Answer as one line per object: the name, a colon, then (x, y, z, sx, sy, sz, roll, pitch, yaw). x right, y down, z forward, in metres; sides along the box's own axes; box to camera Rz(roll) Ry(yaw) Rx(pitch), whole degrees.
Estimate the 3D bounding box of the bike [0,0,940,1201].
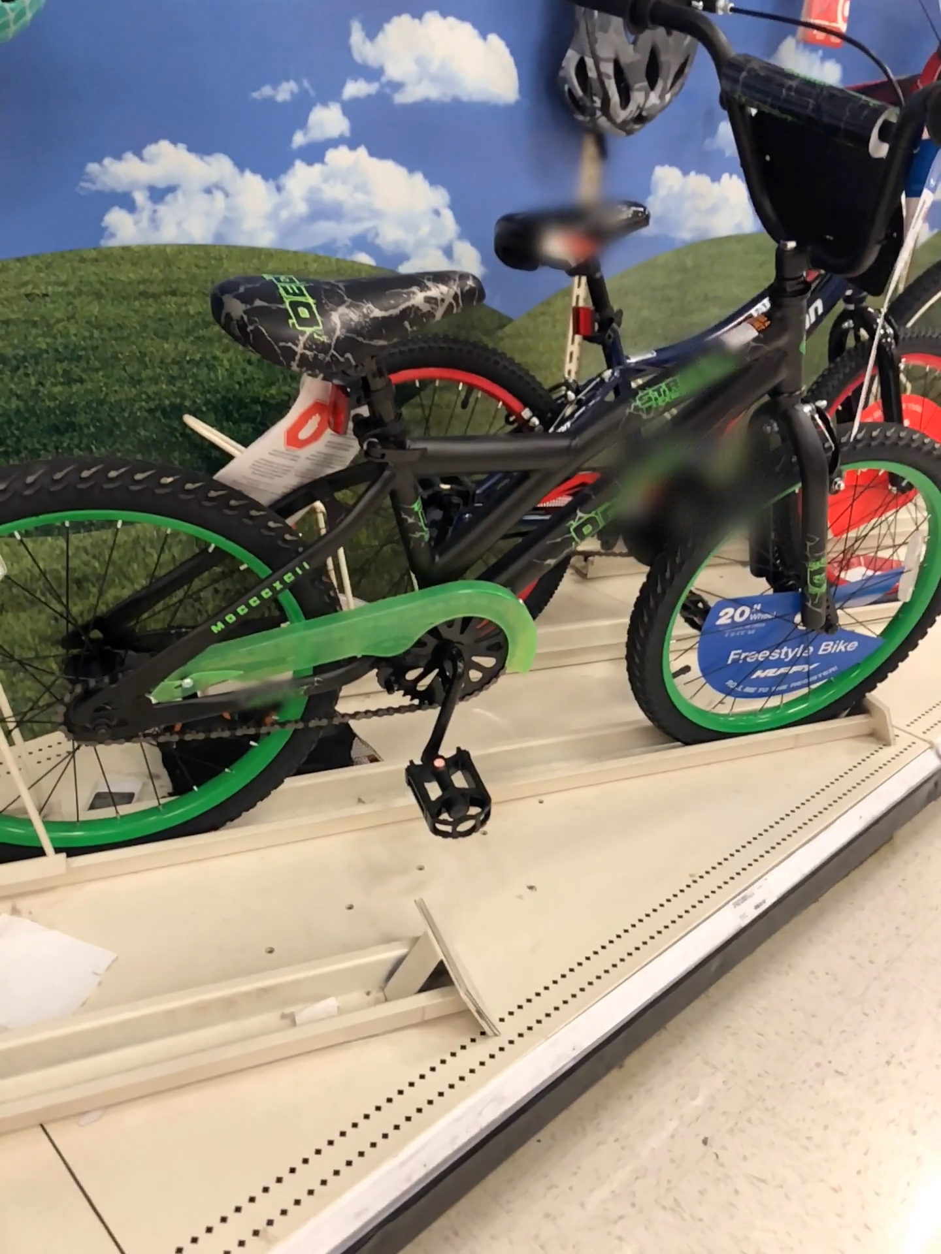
bike: (0.050, -0.204, 1.088, 1.363, 0.878, 0.630, -8, 29, -22)
